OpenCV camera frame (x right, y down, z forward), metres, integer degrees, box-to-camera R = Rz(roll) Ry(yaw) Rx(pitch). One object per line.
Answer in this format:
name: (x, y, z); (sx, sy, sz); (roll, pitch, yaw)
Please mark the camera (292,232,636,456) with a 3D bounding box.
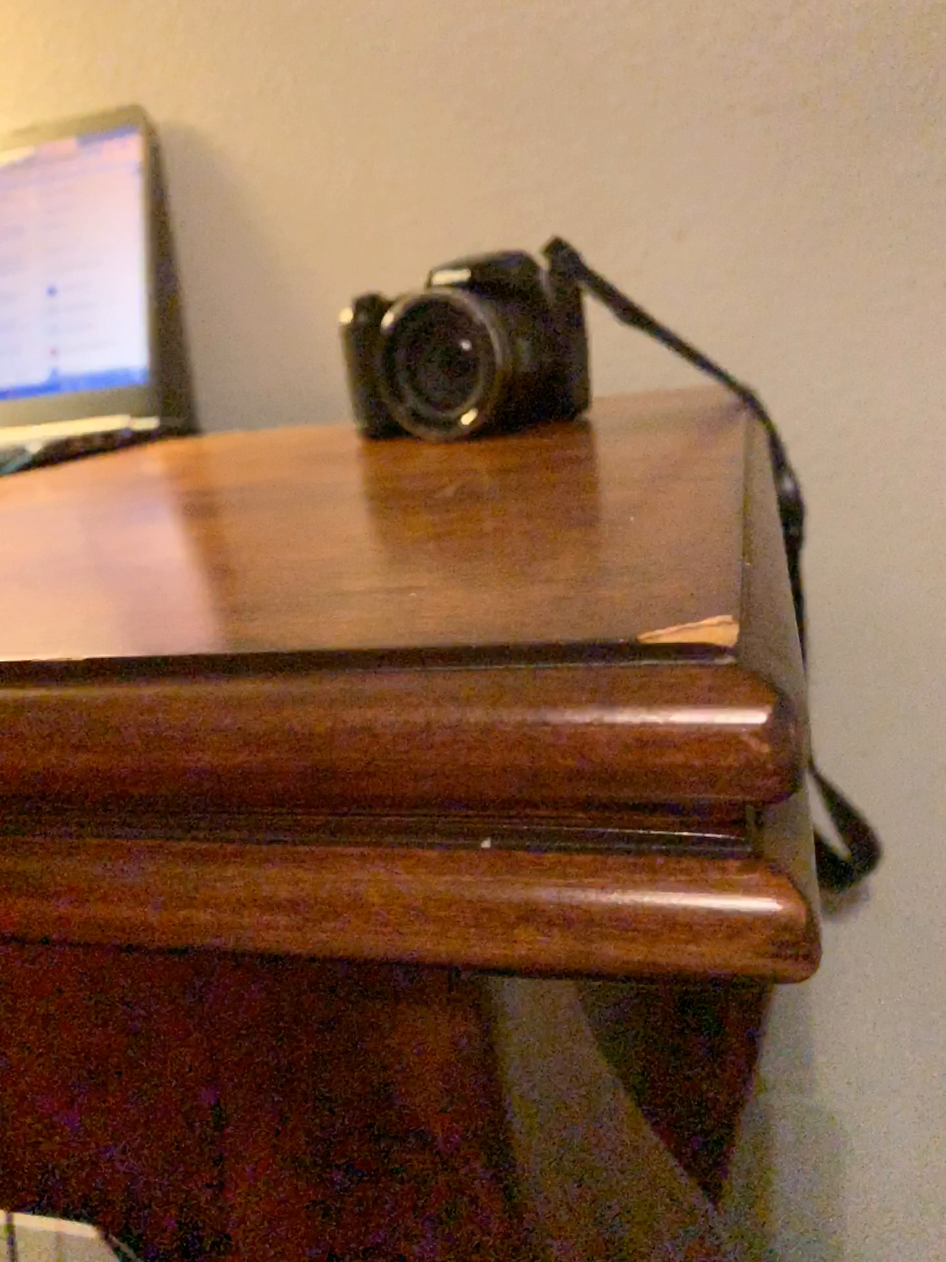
camera: (0.001, -0.137, 0.481); (0.110, 0.081, 0.123); (2, 17, 31)
